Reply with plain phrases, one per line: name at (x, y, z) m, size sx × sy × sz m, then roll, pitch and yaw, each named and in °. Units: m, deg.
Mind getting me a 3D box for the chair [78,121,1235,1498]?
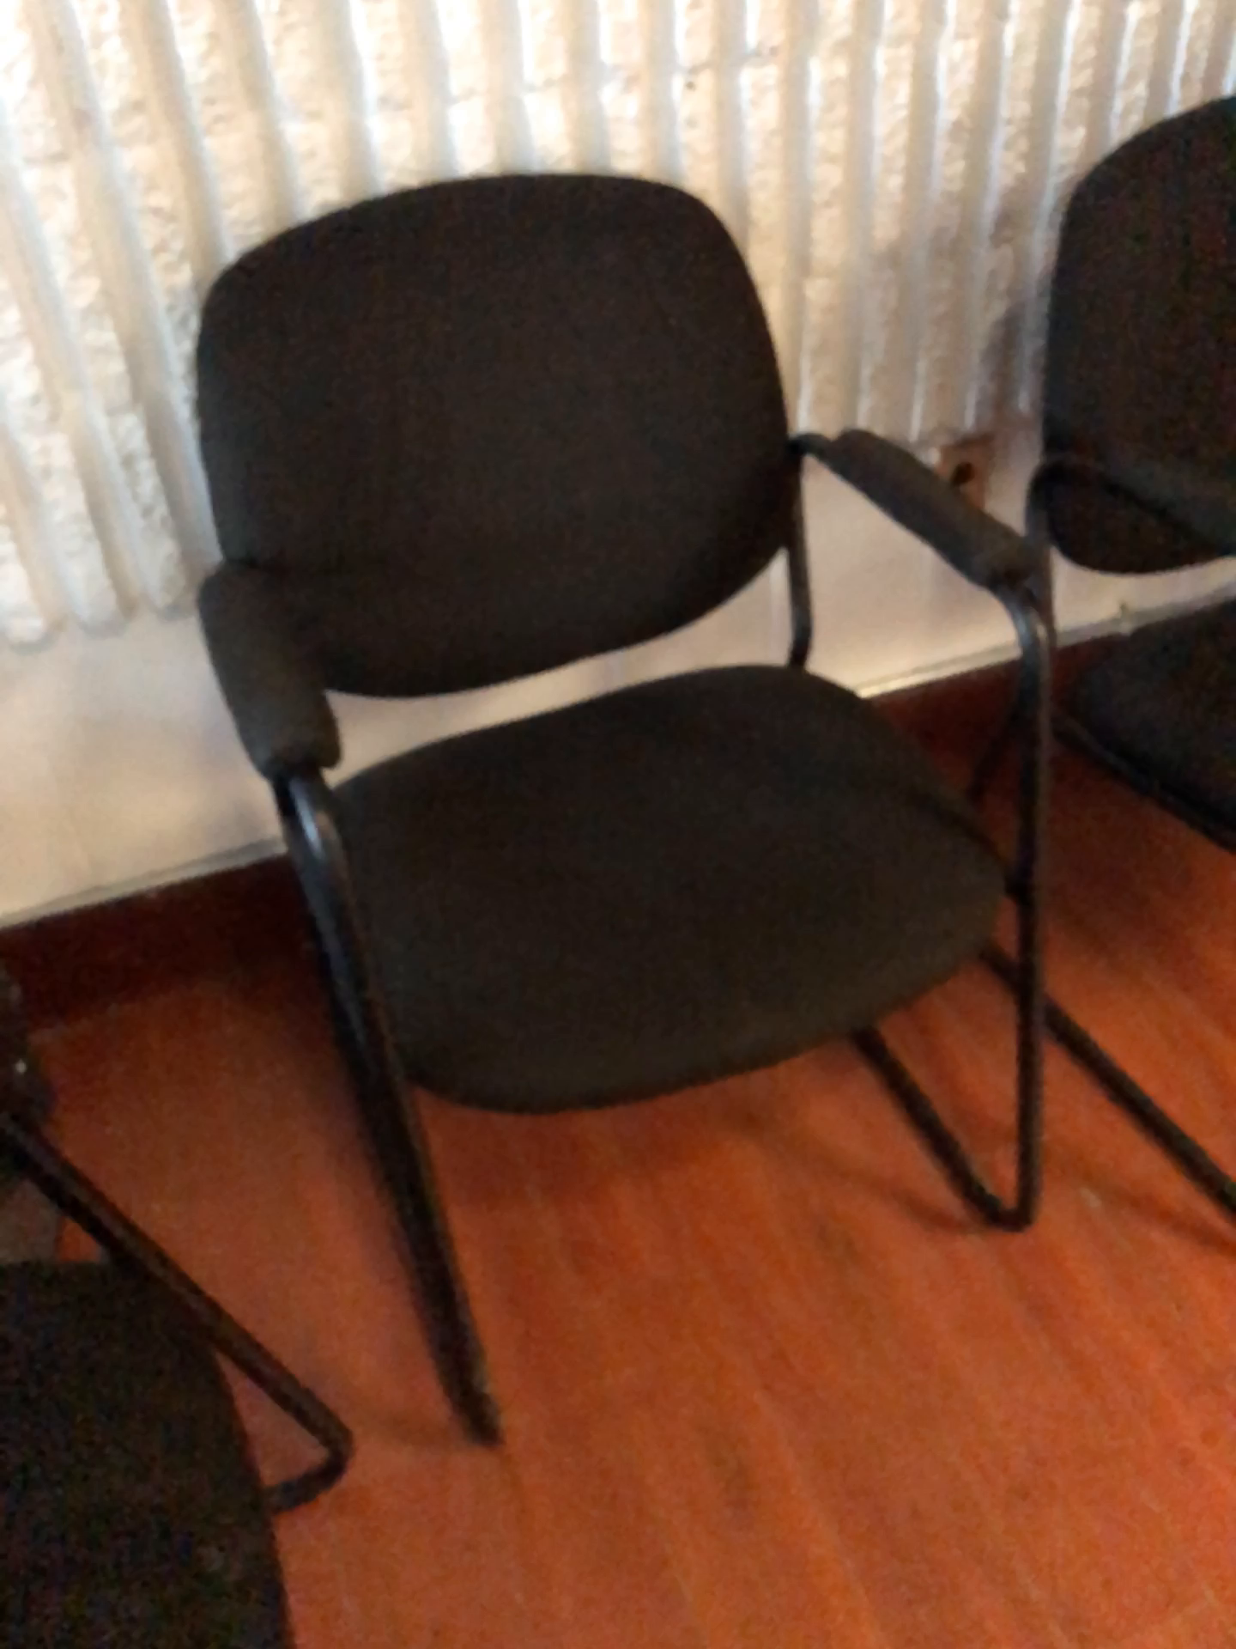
chair at (-0.022, -0.062, 1.216) m, size 0.590 × 0.794 × 0.775 m, roll -17°, pitch 42°, yaw -15°
